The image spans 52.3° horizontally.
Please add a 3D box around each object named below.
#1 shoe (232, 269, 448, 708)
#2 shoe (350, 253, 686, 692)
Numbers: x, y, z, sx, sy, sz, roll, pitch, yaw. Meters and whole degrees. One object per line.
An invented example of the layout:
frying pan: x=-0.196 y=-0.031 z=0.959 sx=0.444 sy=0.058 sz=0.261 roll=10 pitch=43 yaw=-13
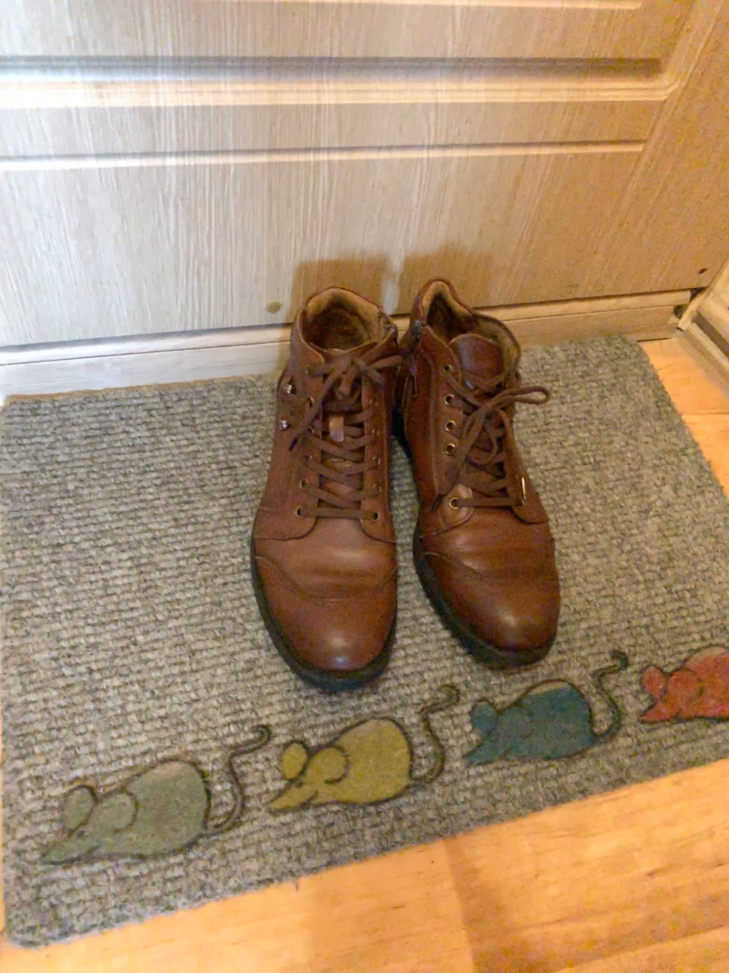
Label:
shoe: x=-0.023 y=-0.001 z=0.507 sx=0.110 sy=0.140 sz=0.261 roll=3 pitch=56 yaw=-7
shoe: x=0.085 y=-0.018 z=0.532 sx=0.110 sy=0.140 sz=0.271 roll=-9 pitch=58 yaw=-15
